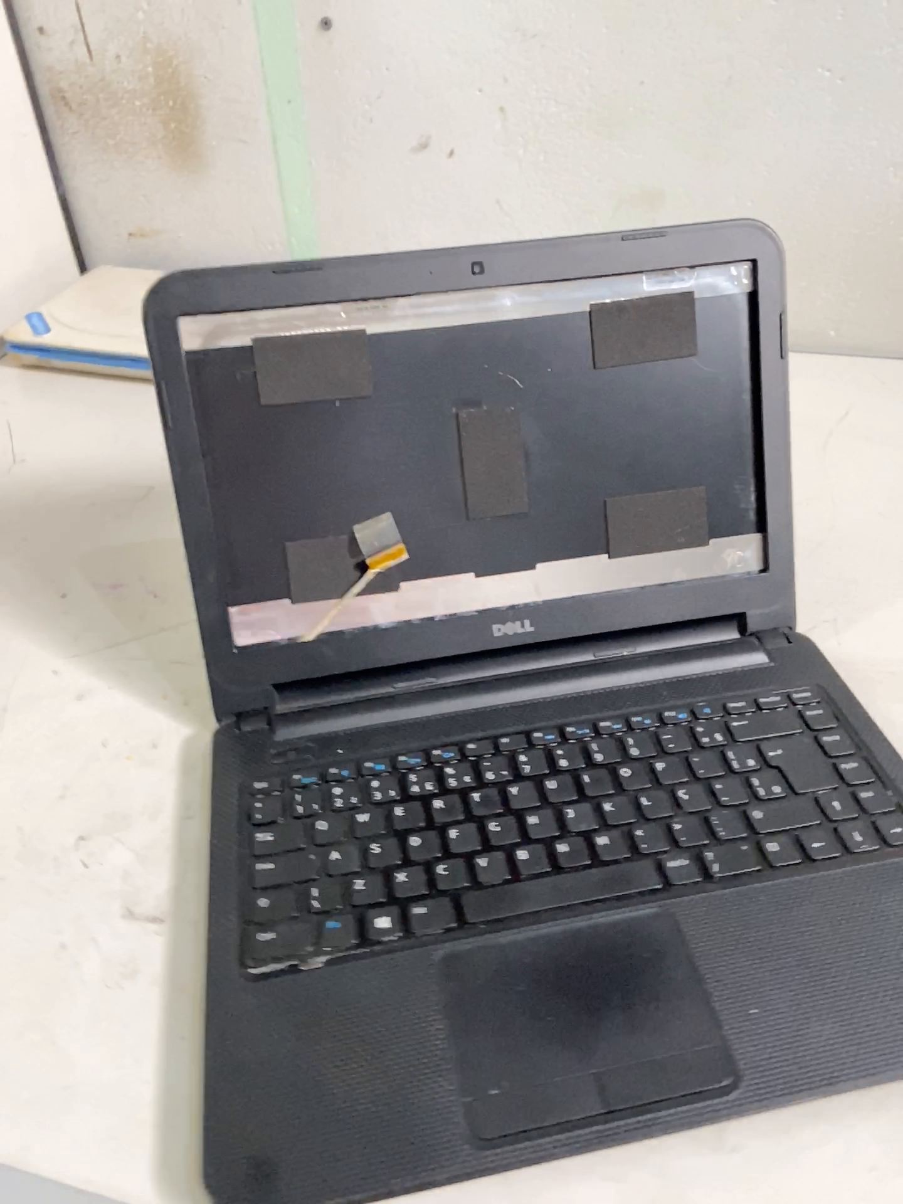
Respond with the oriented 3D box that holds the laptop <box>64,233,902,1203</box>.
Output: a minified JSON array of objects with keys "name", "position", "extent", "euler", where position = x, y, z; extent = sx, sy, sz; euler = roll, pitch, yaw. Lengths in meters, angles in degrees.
[{"name":"laptop","position":[0.050,0.004,0.401],"extent":[0.320,0.193,0.337],"euler":[-8,39,-7]}]
